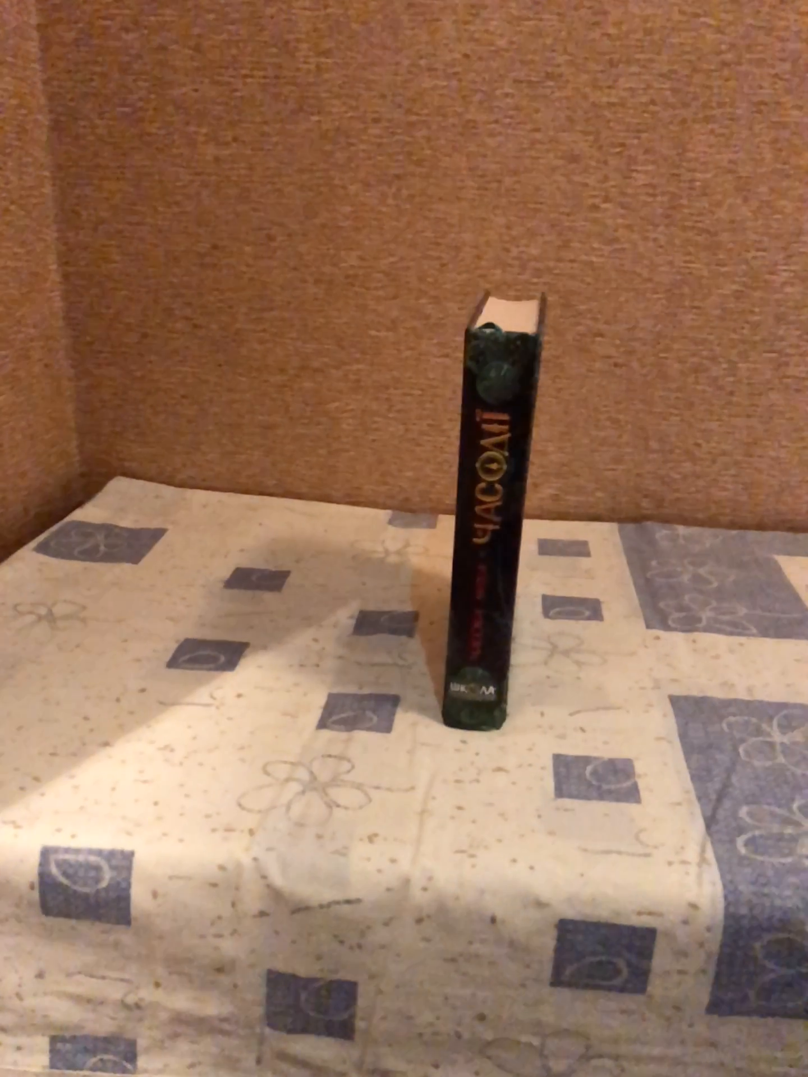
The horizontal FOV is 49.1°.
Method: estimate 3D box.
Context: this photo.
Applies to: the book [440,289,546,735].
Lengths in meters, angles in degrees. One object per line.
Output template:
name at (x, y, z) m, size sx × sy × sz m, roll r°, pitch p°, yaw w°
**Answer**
book at (0.055, -0.027, 0.521) m, size 0.040 × 0.216 × 0.173 m, roll 4°, pitch 20°, yaw 7°
